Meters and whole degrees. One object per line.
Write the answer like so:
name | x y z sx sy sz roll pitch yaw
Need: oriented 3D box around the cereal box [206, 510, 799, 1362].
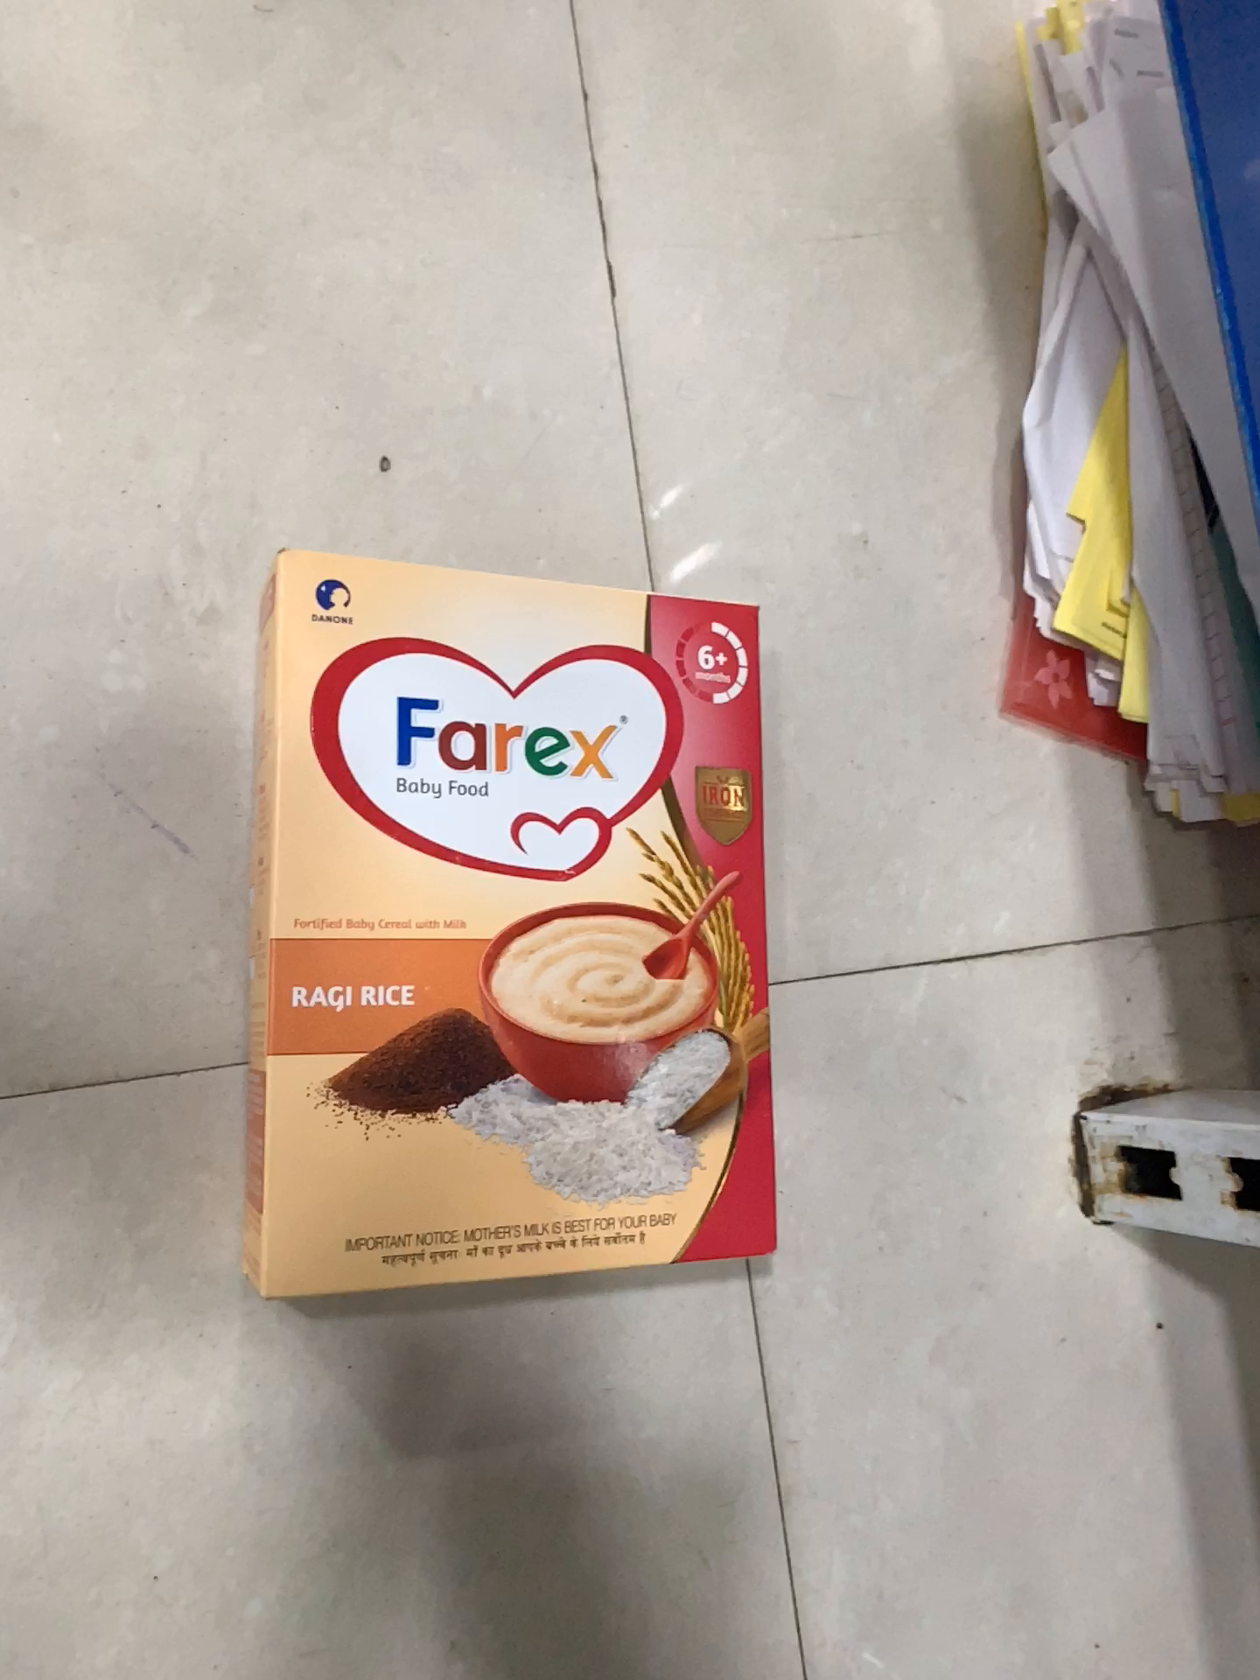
cereal box | -0.031 0.026 0.360 0.150 0.050 0.200 4 82 -26
